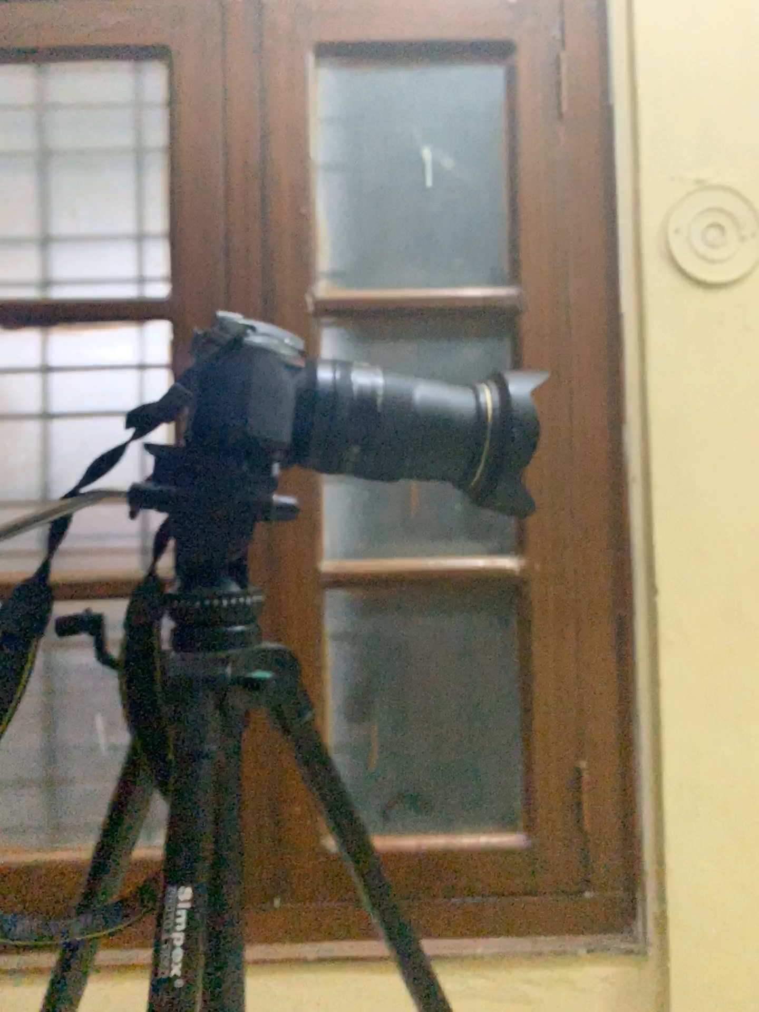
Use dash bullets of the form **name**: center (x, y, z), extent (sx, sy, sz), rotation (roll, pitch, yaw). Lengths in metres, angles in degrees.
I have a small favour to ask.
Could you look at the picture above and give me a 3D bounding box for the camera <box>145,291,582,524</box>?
- **camera**: center (-0.014, -0.058, 0.565), extent (0.270, 0.120, 0.130), rotation (5, -2, -8)
